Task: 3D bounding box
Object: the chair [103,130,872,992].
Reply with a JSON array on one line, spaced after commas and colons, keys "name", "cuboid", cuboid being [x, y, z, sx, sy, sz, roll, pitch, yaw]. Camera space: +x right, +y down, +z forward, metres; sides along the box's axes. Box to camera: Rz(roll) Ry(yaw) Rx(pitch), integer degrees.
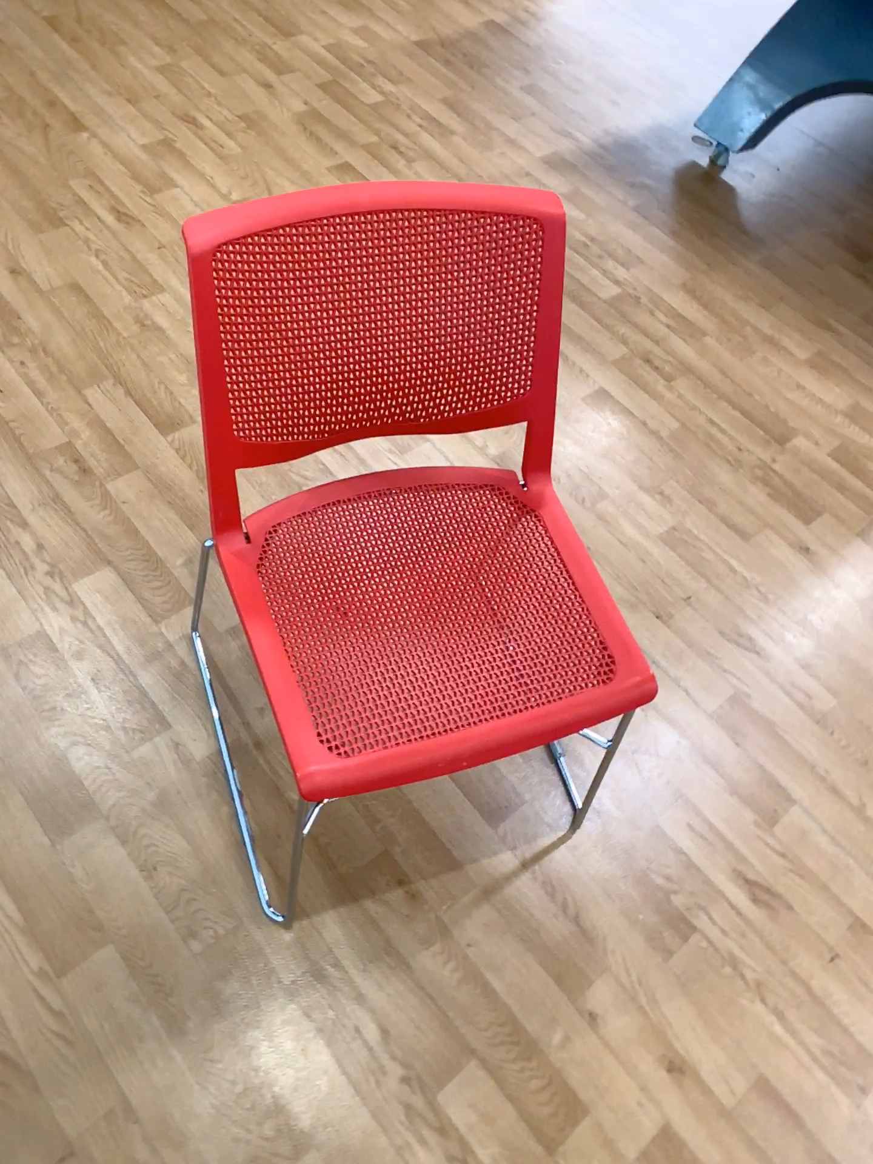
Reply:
[{"name": "chair", "cuboid": [0.026, -0.008, 1.033, 0.601, 0.705, 0.593, -13, 58, -20]}]
